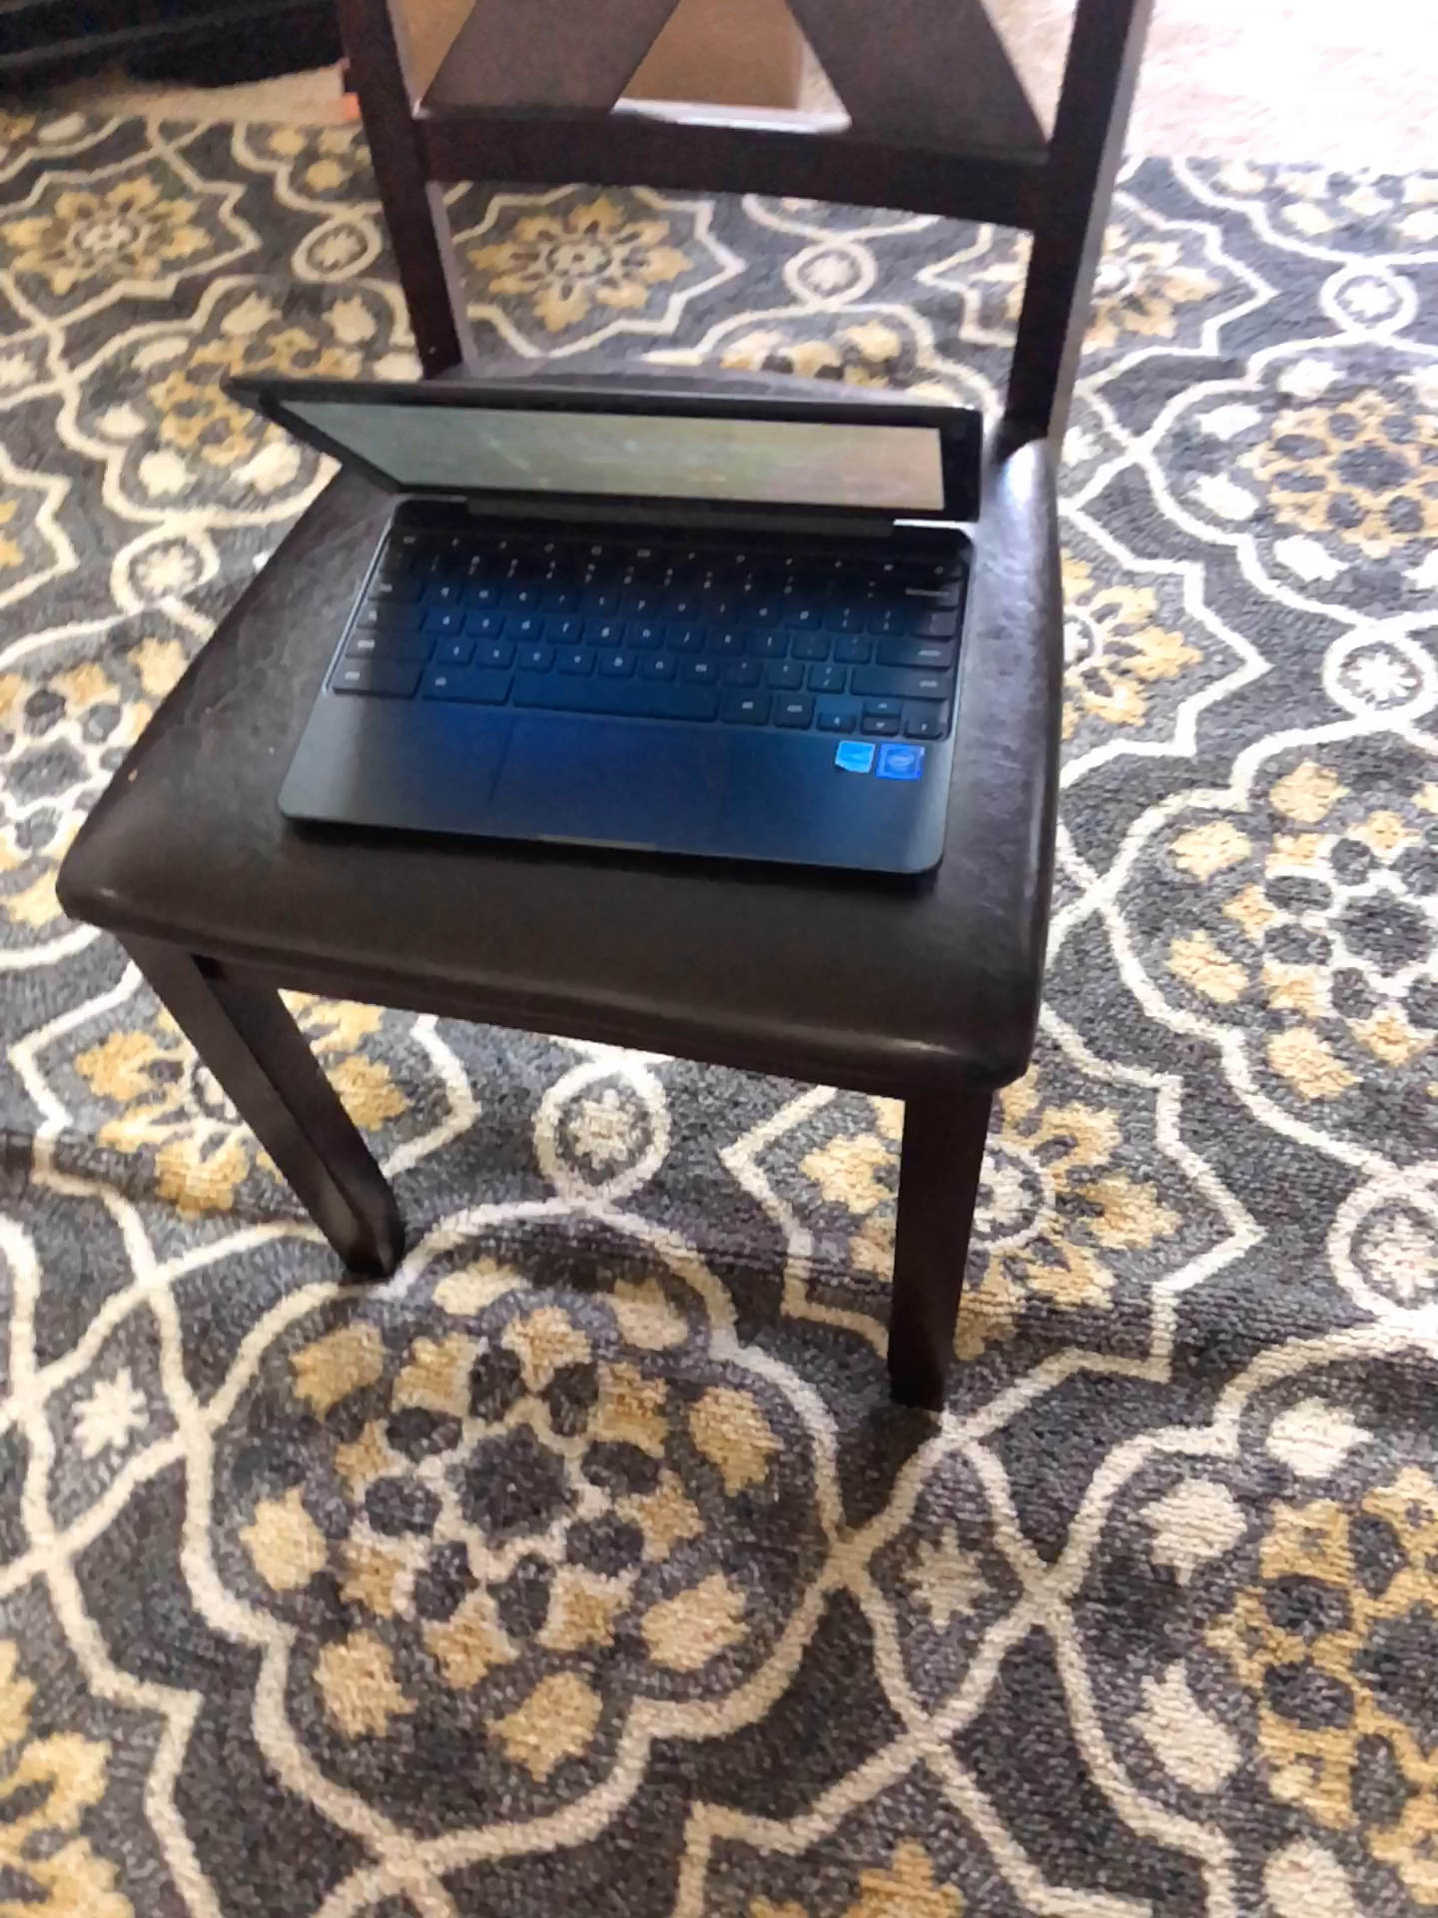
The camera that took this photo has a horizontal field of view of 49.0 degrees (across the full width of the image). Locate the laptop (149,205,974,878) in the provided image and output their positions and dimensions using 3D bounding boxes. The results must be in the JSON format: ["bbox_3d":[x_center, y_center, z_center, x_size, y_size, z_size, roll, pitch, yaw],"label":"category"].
[{"bbox_3d":[-0.044,-0.168,0.633,0.263,0.155,0.192,6,57,7],"label":"laptop"}]
